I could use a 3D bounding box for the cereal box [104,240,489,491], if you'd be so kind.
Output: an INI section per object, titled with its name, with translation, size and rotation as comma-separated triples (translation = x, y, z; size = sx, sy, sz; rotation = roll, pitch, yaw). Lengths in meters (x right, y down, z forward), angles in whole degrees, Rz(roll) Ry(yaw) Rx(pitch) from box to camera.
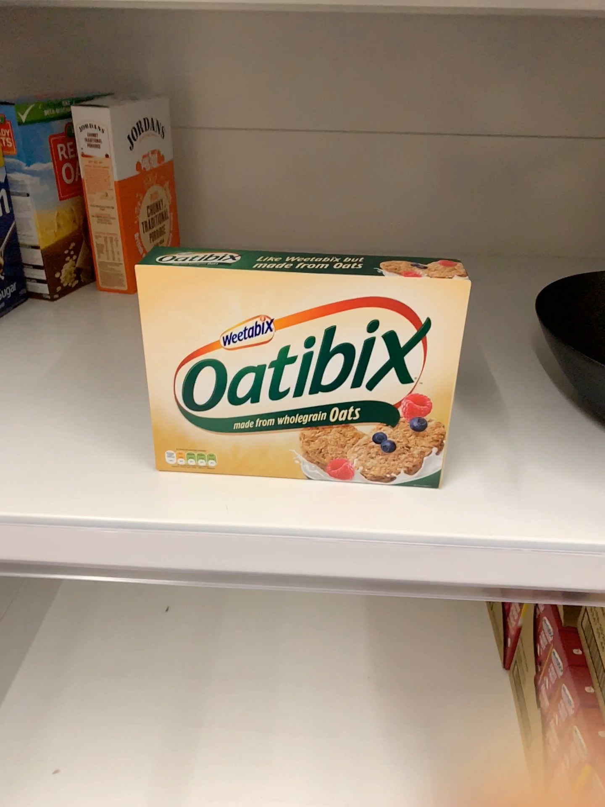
[cereal box]
translation = -0.005, -0.030, 0.507
size = 0.270, 0.178, 0.071
rotation = 3, 30, 3
